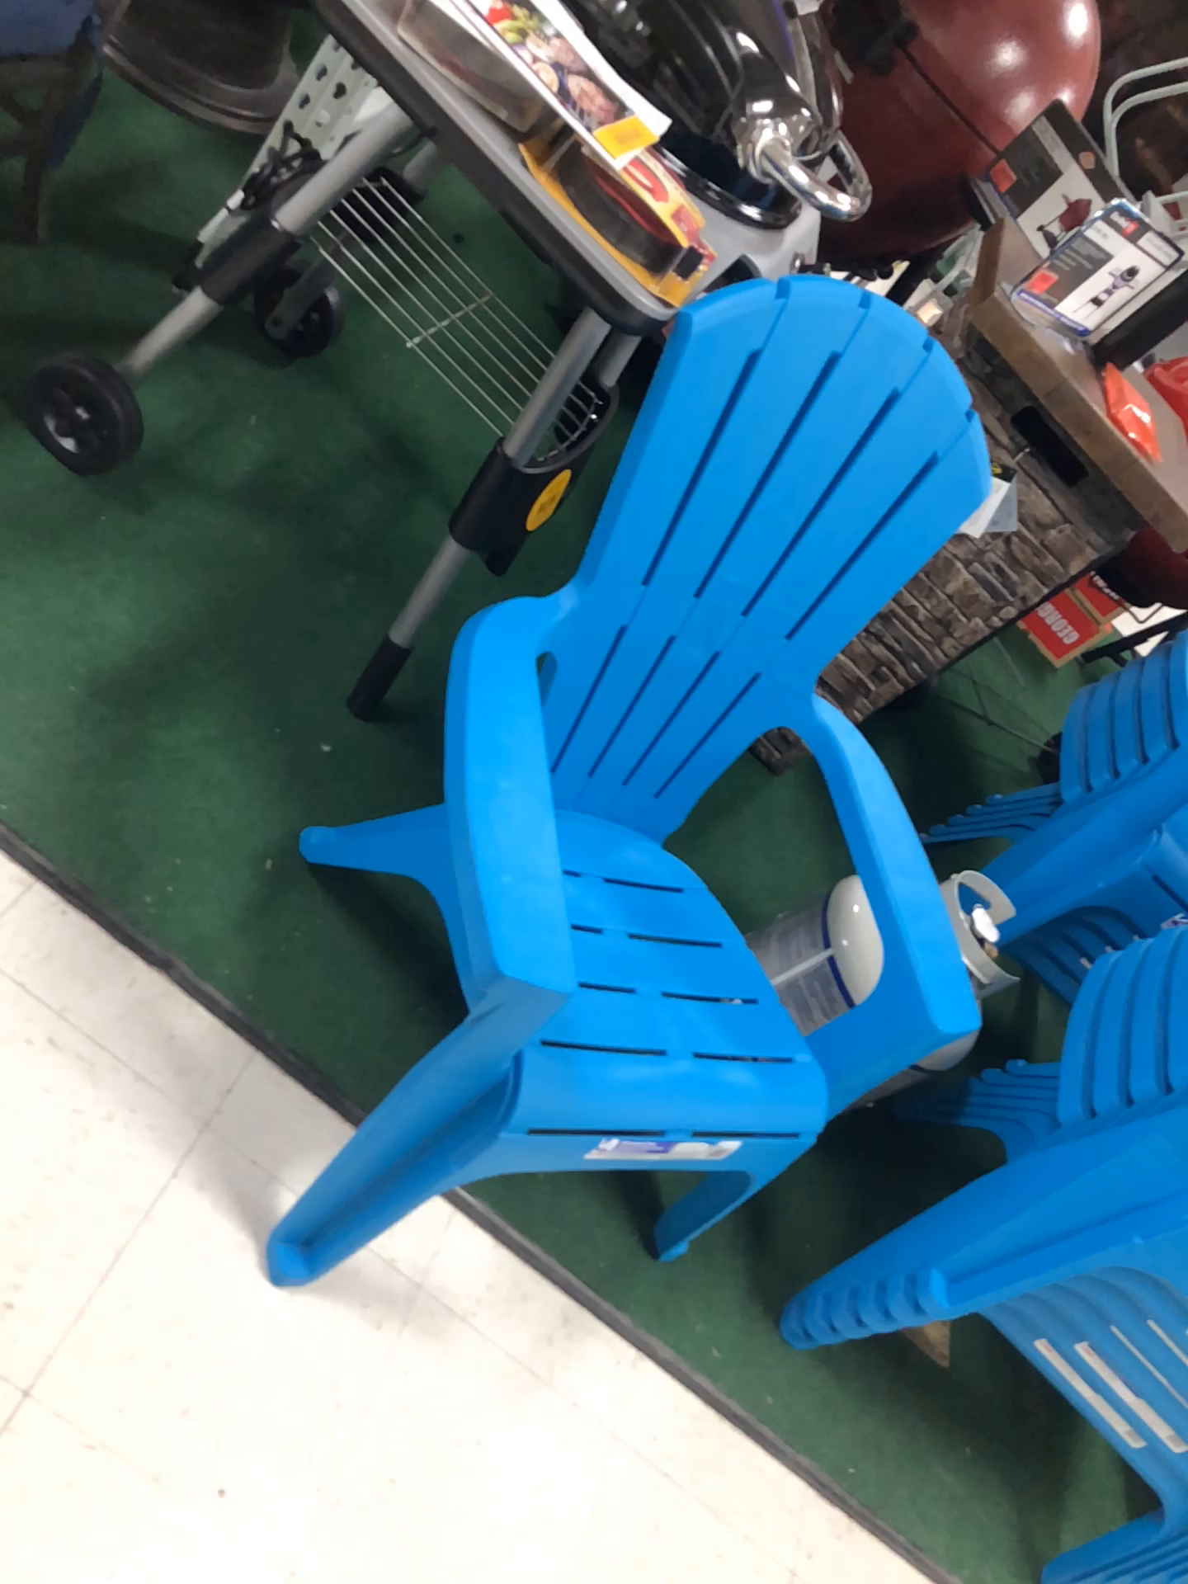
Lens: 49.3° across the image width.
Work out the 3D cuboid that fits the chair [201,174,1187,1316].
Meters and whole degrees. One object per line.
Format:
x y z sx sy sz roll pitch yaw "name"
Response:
0.133 0.073 1.376 0.684 0.930 0.648 13 52 -40 "chair"
